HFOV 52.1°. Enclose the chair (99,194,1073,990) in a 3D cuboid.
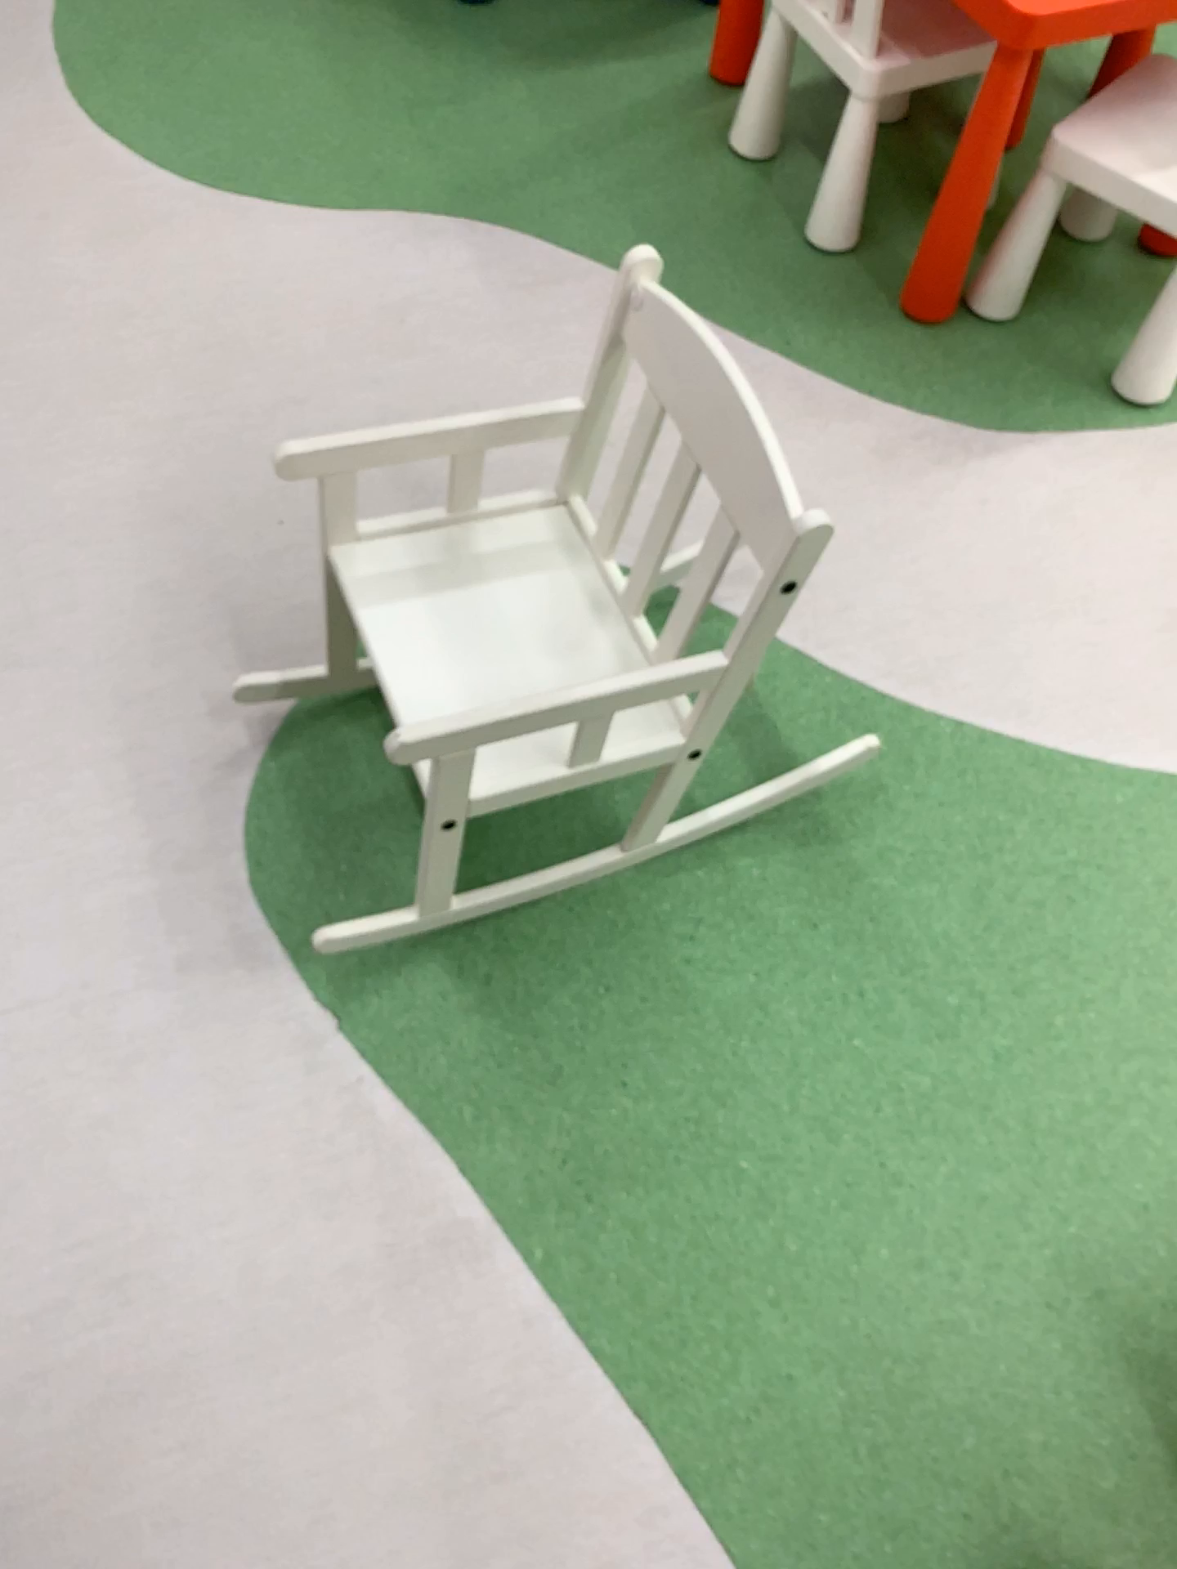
[{"bbox_3d":[-0.016,-0.183,1.244,0.730,0.499,0.411,-18,62,-12],"label":"chair"}]
